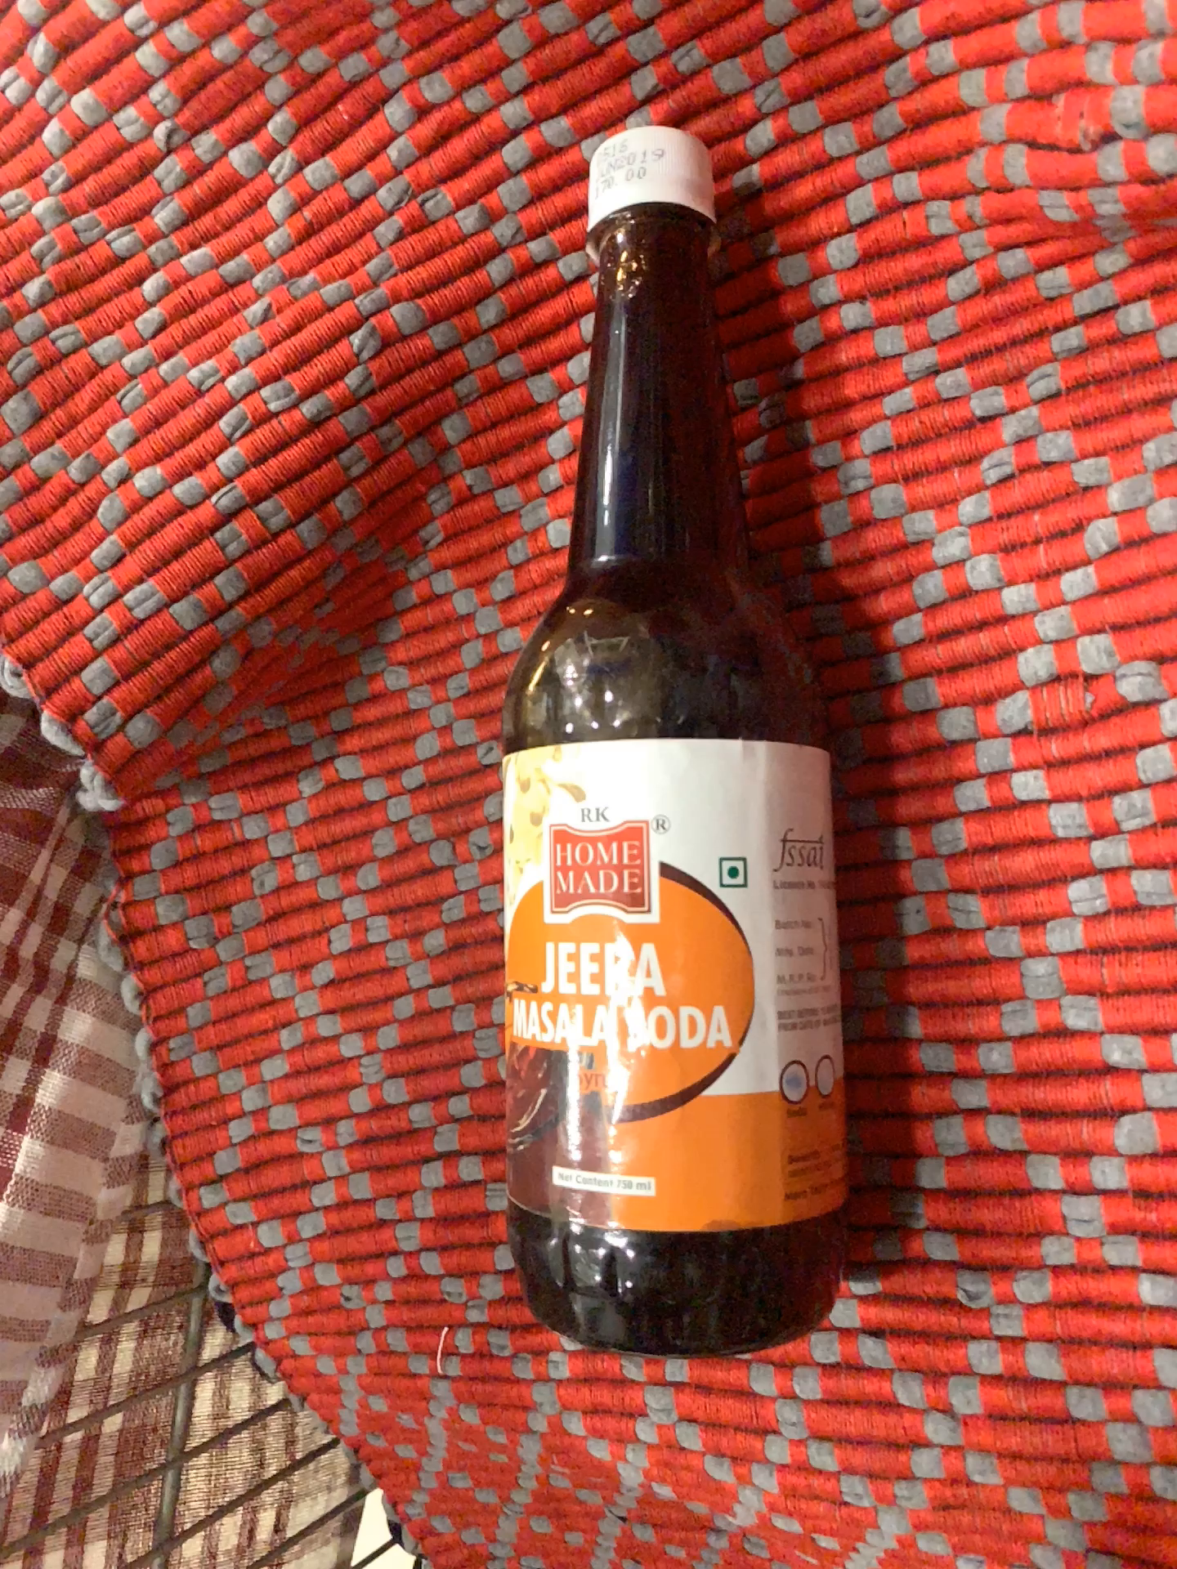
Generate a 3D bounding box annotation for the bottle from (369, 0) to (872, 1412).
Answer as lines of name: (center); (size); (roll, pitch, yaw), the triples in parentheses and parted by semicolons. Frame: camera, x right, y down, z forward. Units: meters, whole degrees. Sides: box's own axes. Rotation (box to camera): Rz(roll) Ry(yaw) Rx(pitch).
bottle: (0.012, -0.021, 0.264); (0.080, 0.070, 0.260); (-2, 81, 26)
